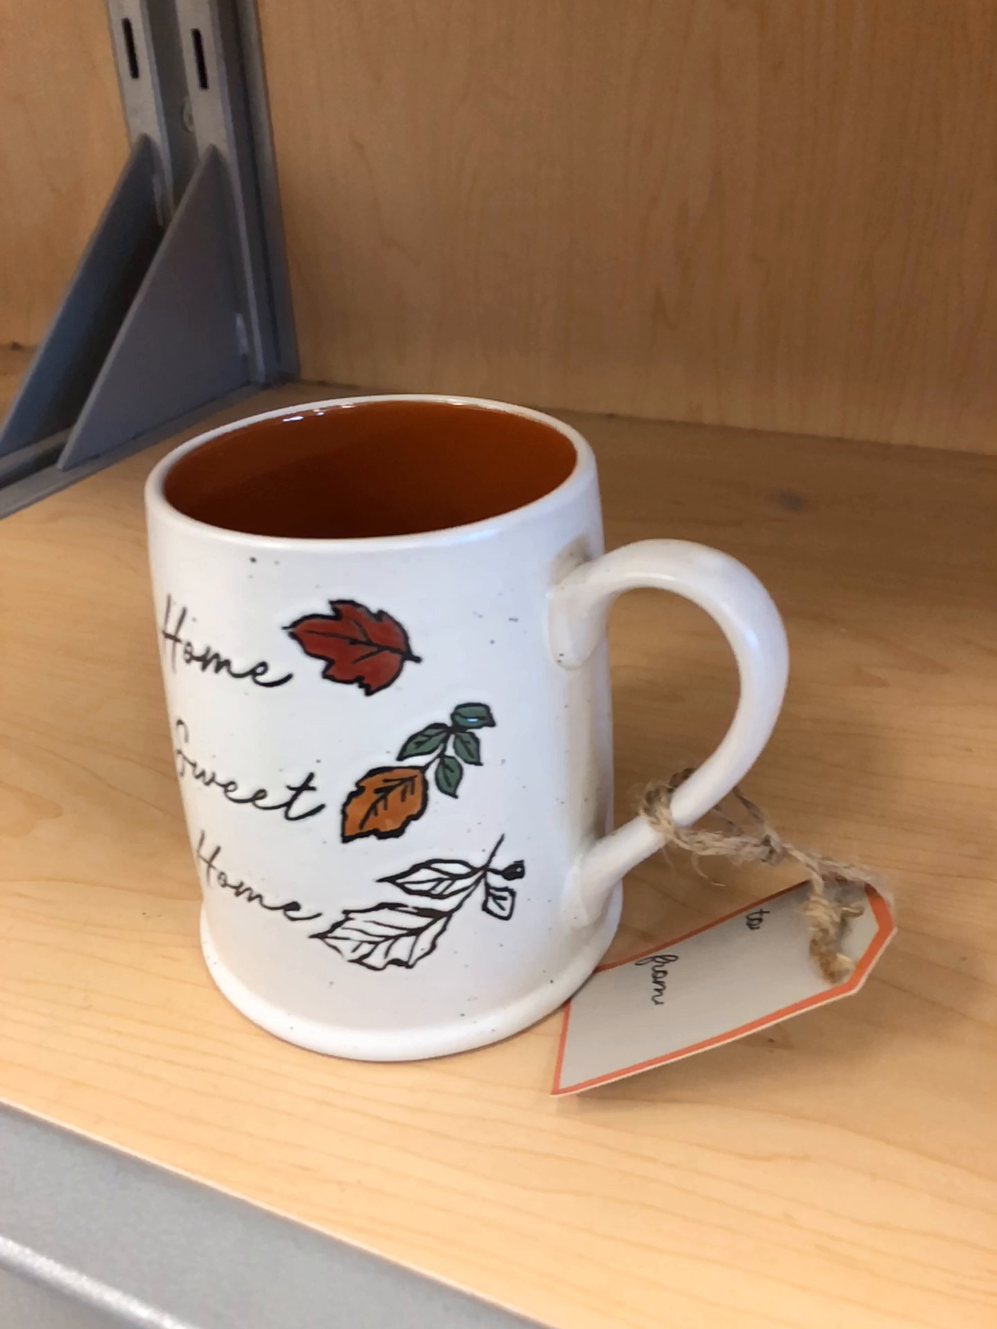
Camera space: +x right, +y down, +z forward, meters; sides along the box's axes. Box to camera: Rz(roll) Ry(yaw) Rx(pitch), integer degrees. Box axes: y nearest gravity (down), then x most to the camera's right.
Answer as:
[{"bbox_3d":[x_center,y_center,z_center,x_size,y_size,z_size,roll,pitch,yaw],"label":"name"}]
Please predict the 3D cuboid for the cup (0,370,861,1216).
[{"bbox_3d":[-0.011,0.012,0.198,0.125,0.099,0.081,10,32,20],"label":"cup"}]
